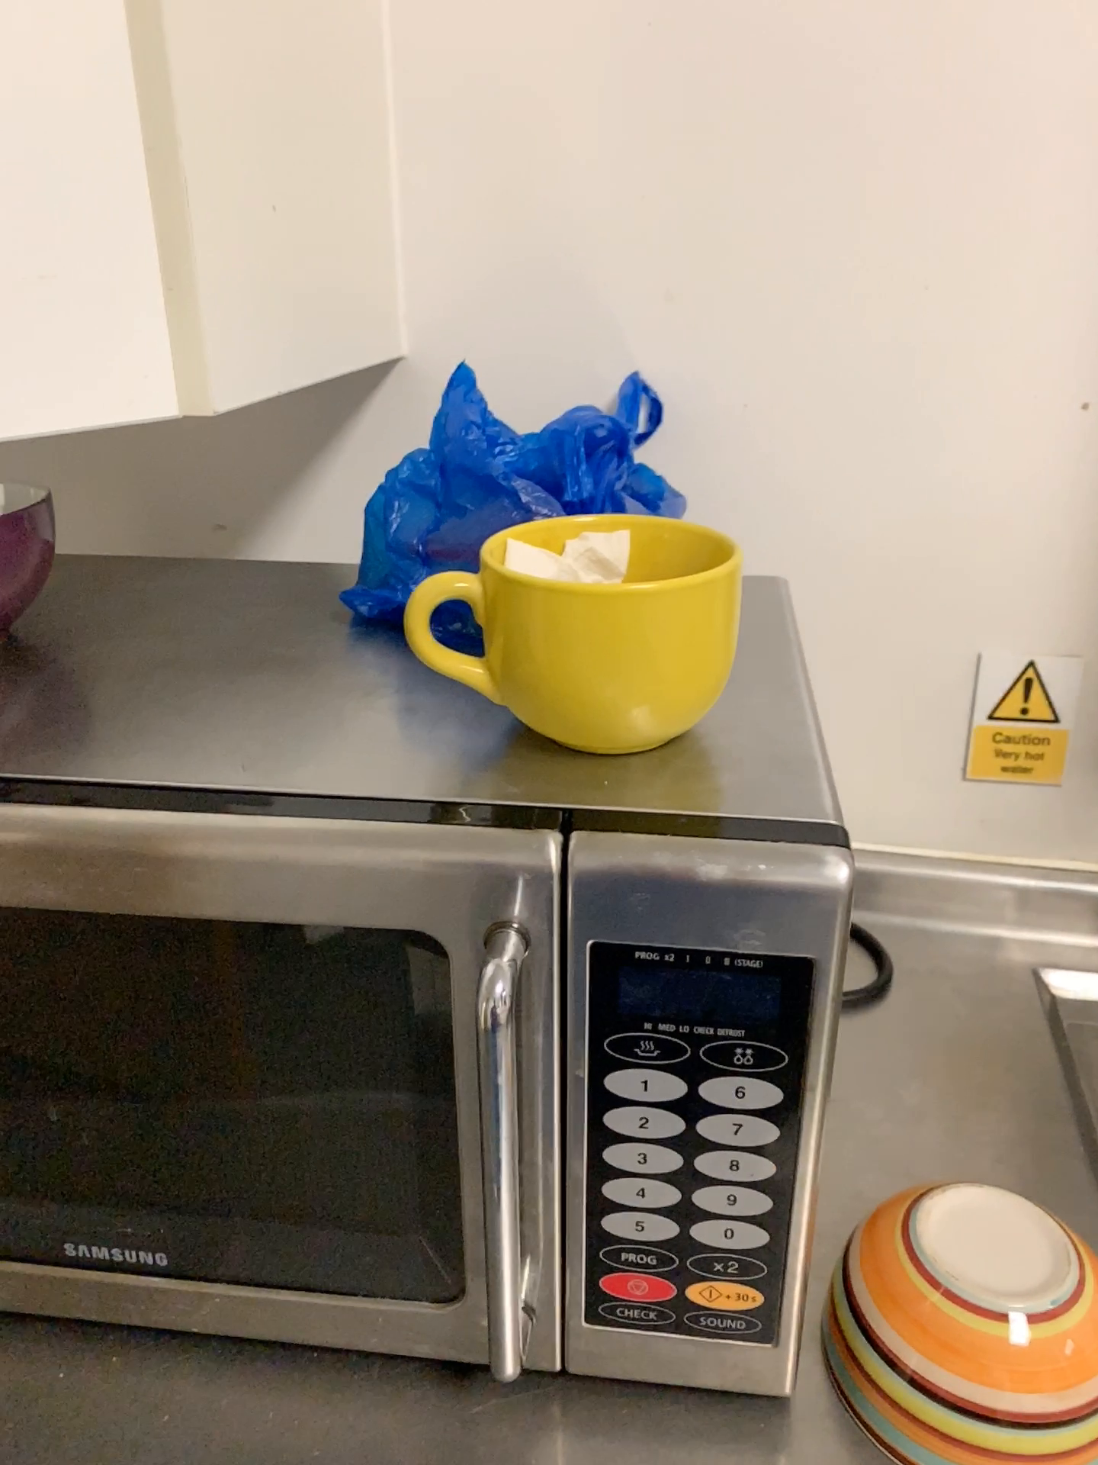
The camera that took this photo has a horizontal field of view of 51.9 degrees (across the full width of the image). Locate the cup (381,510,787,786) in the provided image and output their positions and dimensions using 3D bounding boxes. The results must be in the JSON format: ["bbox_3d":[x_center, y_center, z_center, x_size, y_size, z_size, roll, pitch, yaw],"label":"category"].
[{"bbox_3d":[0.018,-0.043,0.496,0.154,0.082,0.116,2,24,6],"label":"cup"}]
